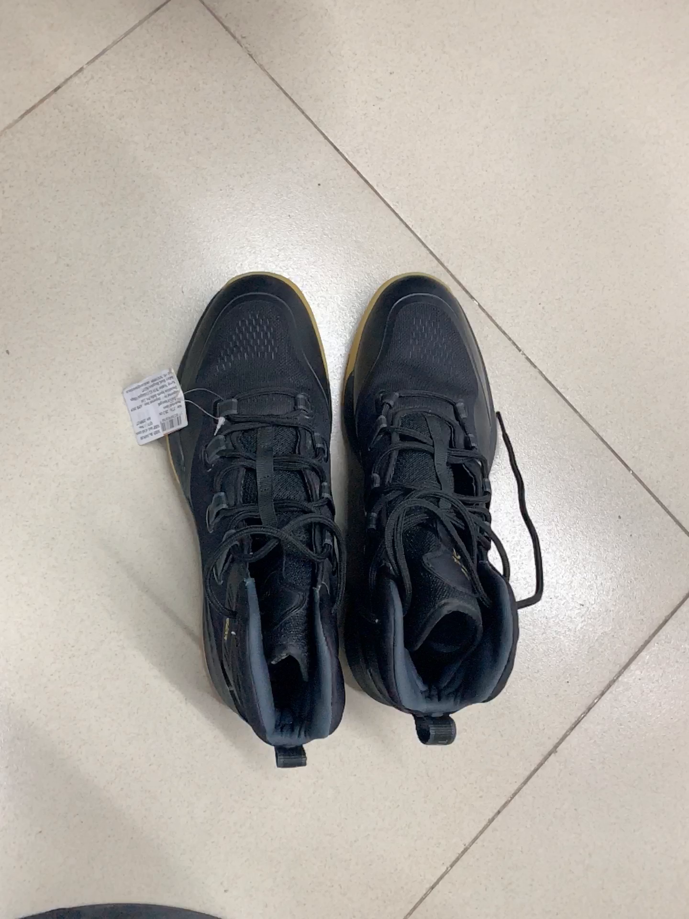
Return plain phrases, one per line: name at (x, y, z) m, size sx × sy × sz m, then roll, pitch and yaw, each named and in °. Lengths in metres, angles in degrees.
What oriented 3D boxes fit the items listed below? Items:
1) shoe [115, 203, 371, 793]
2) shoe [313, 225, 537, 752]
shoe at (-0.061, 0.017, 0.425) m, size 0.110 × 0.140 × 0.290 m, roll -4°, pitch 88°, yaw -9°
shoe at (0.046, 0.018, 0.441) m, size 0.110 × 0.090 × 0.290 m, roll 3°, pitch 87°, yaw -8°
